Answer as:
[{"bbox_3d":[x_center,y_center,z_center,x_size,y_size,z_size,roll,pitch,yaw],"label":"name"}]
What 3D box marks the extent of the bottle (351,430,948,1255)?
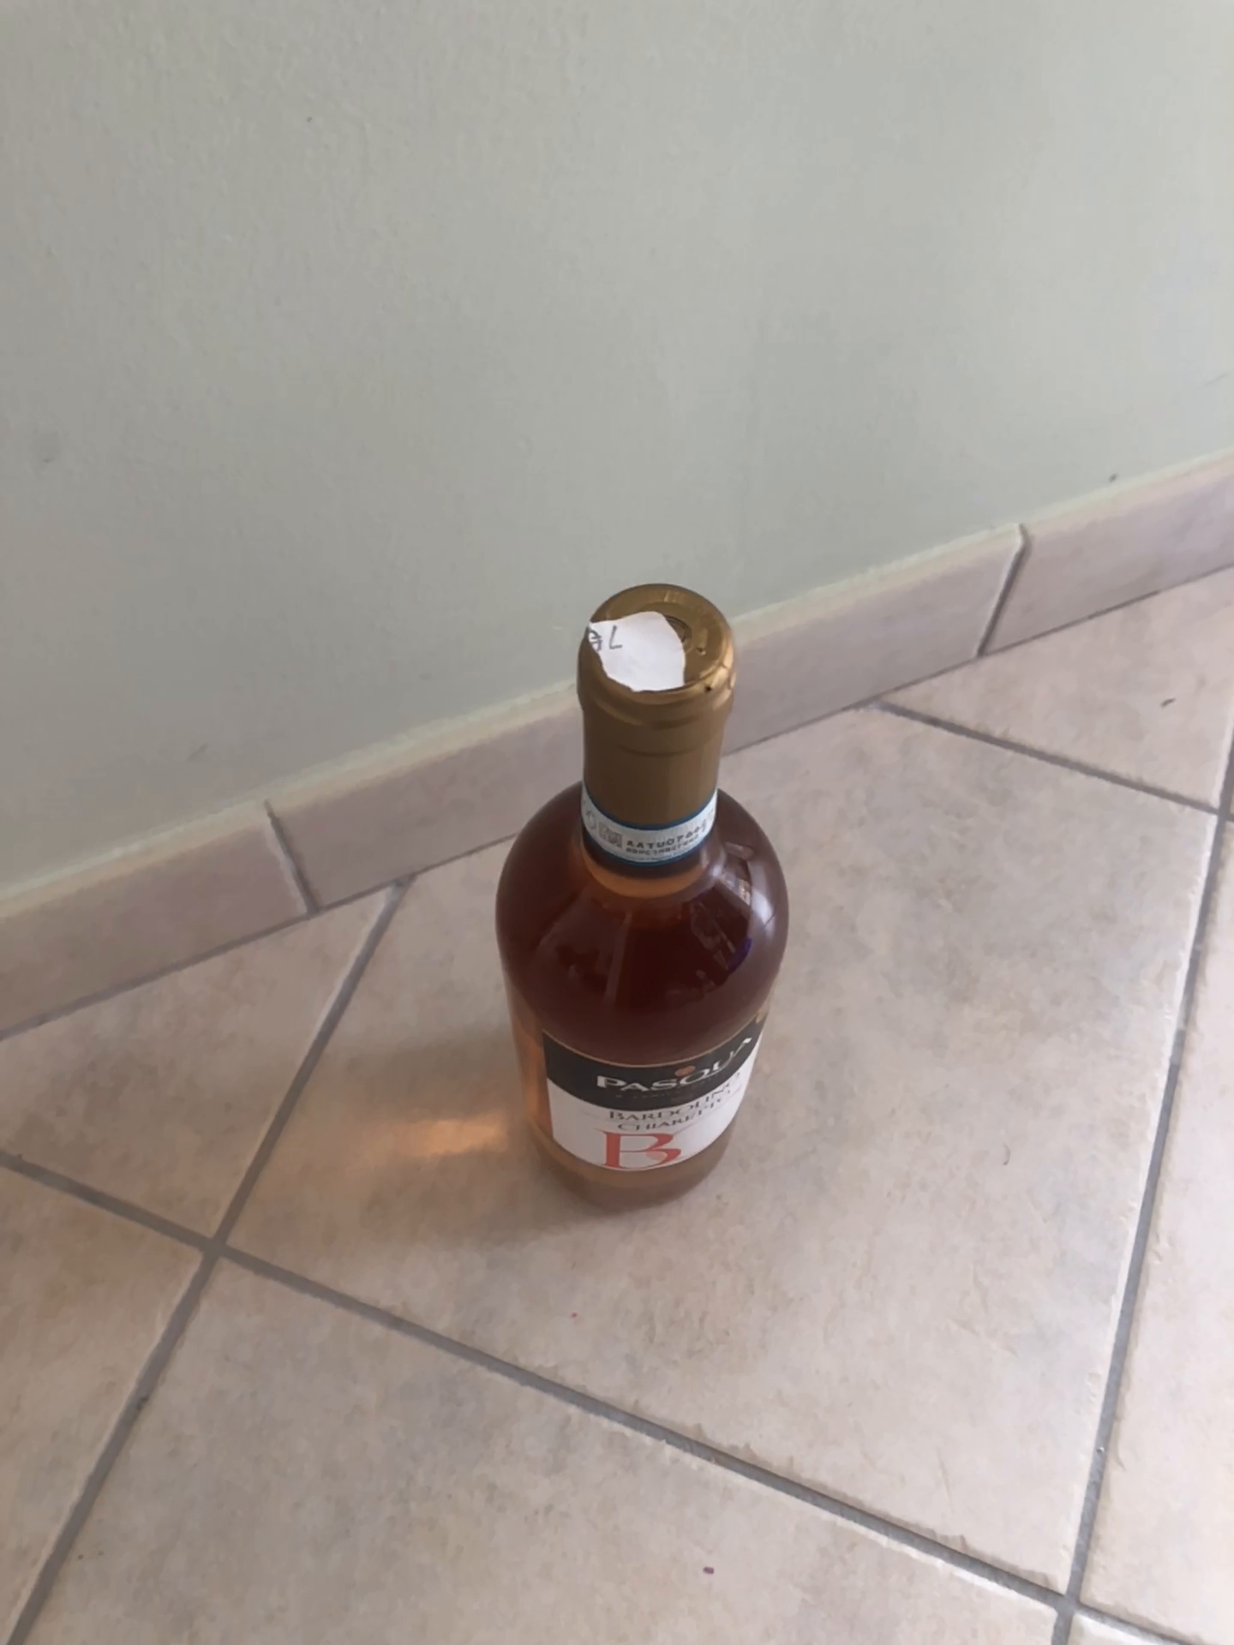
[{"bbox_3d":[0.001,0.034,0.348,0.080,0.269,0.080,0,62,-1],"label":"bottle"}]
